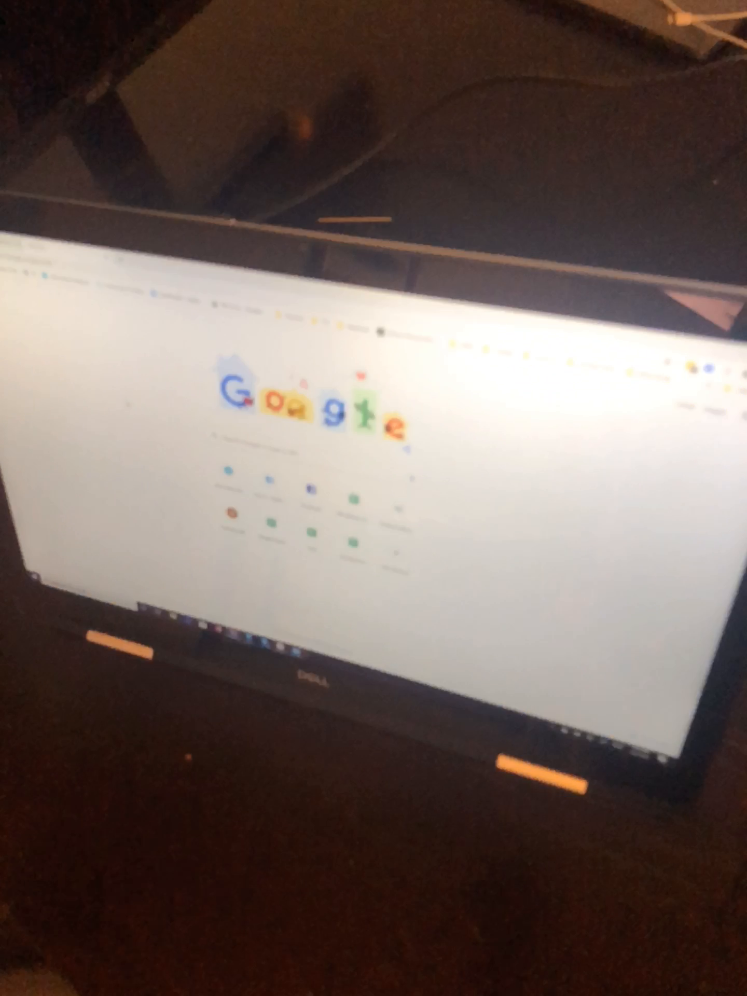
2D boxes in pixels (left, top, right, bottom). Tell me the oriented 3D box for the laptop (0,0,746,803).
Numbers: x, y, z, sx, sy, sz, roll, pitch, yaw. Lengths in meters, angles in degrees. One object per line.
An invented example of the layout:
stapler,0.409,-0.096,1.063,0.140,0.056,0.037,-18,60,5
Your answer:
laptop,-0.008,-0.060,0.404,0.419,0.233,0.267,13,68,17
